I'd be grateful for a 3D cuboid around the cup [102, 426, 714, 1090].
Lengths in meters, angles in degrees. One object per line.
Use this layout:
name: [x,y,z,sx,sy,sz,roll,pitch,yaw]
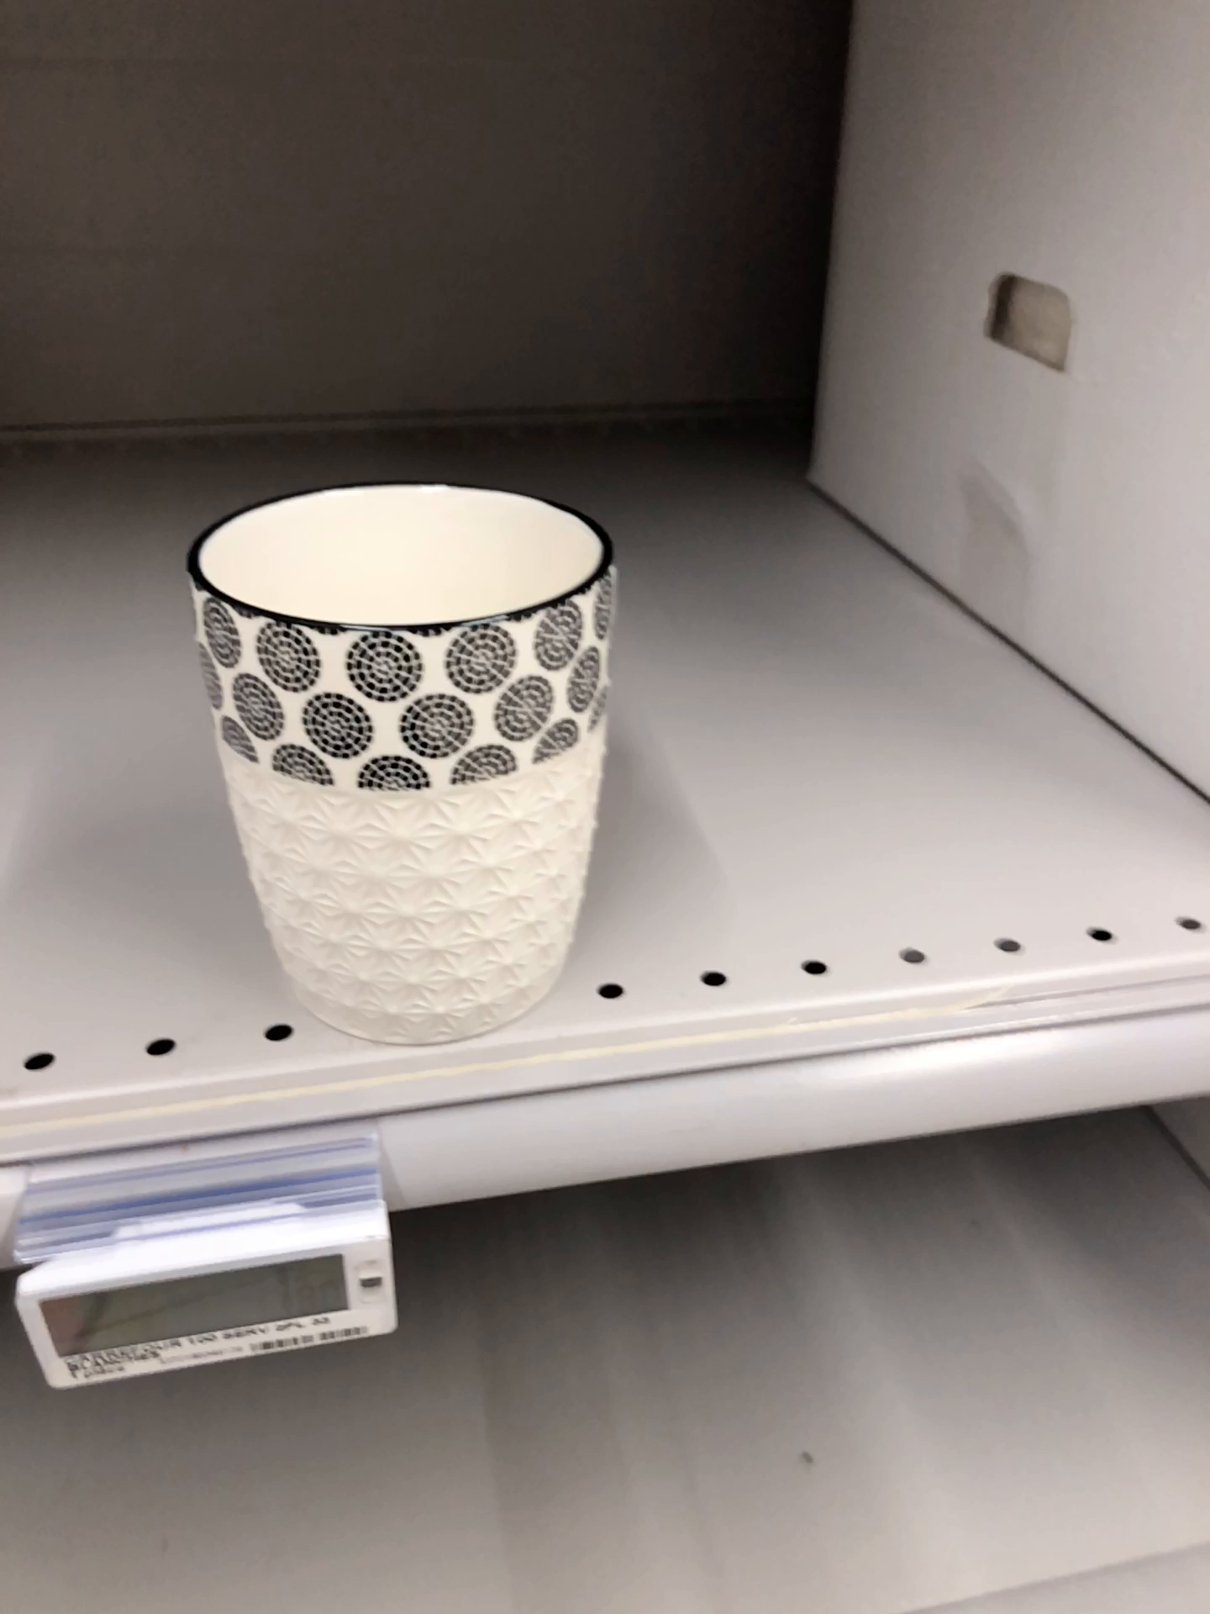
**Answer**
cup: [-0.033,-0.018,0.297,0.088,0.095,0.107,9,32,13]
